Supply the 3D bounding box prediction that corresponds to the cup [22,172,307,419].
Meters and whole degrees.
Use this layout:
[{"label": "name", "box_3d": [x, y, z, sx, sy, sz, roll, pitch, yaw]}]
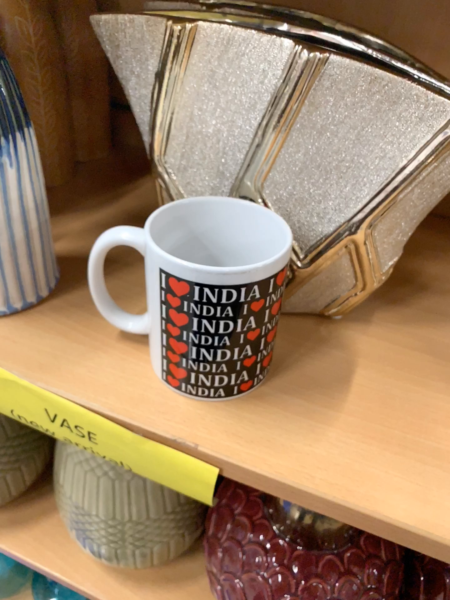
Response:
[{"label": "cup", "box_3d": [-0.026, -0.007, 0.275, 0.130, 0.090, 0.090, 9, 35, 6]}]
